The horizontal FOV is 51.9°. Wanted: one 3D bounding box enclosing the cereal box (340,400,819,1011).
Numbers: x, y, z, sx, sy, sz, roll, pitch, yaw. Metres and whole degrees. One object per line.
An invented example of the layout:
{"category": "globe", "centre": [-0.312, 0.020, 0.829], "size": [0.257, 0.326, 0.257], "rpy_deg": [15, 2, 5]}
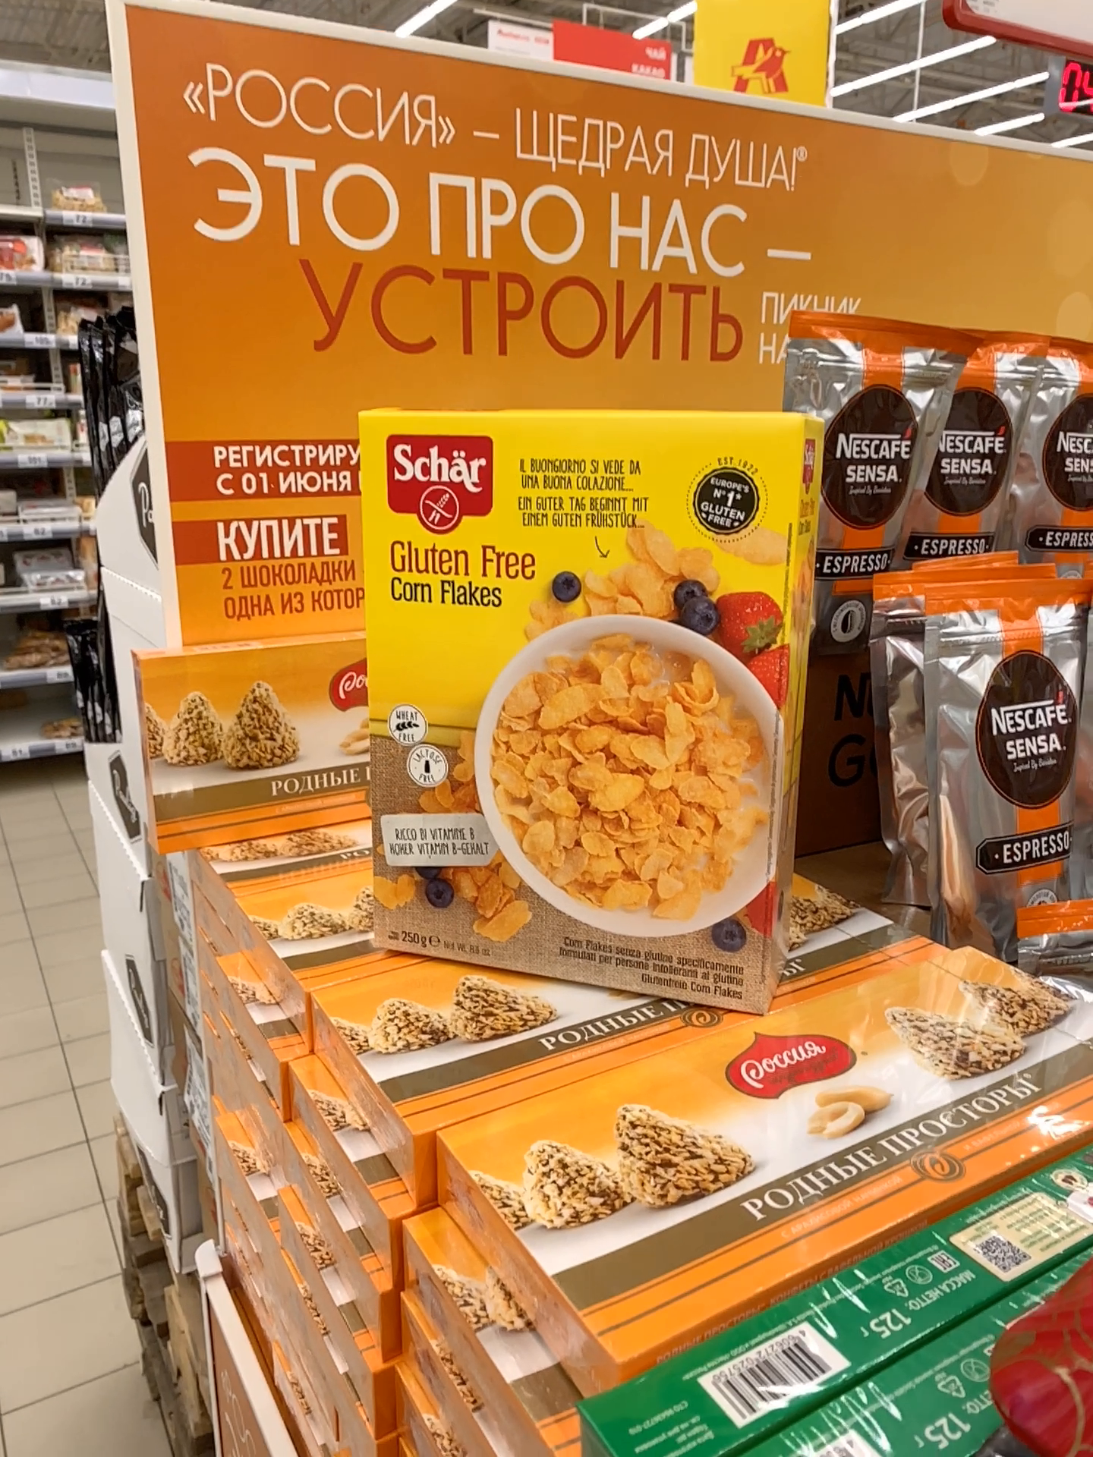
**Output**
{"category": "cereal box", "centre": [0.014, -0.017, 0.524], "size": [0.200, 0.259, 0.060], "rpy_deg": [5, 16, 19]}
